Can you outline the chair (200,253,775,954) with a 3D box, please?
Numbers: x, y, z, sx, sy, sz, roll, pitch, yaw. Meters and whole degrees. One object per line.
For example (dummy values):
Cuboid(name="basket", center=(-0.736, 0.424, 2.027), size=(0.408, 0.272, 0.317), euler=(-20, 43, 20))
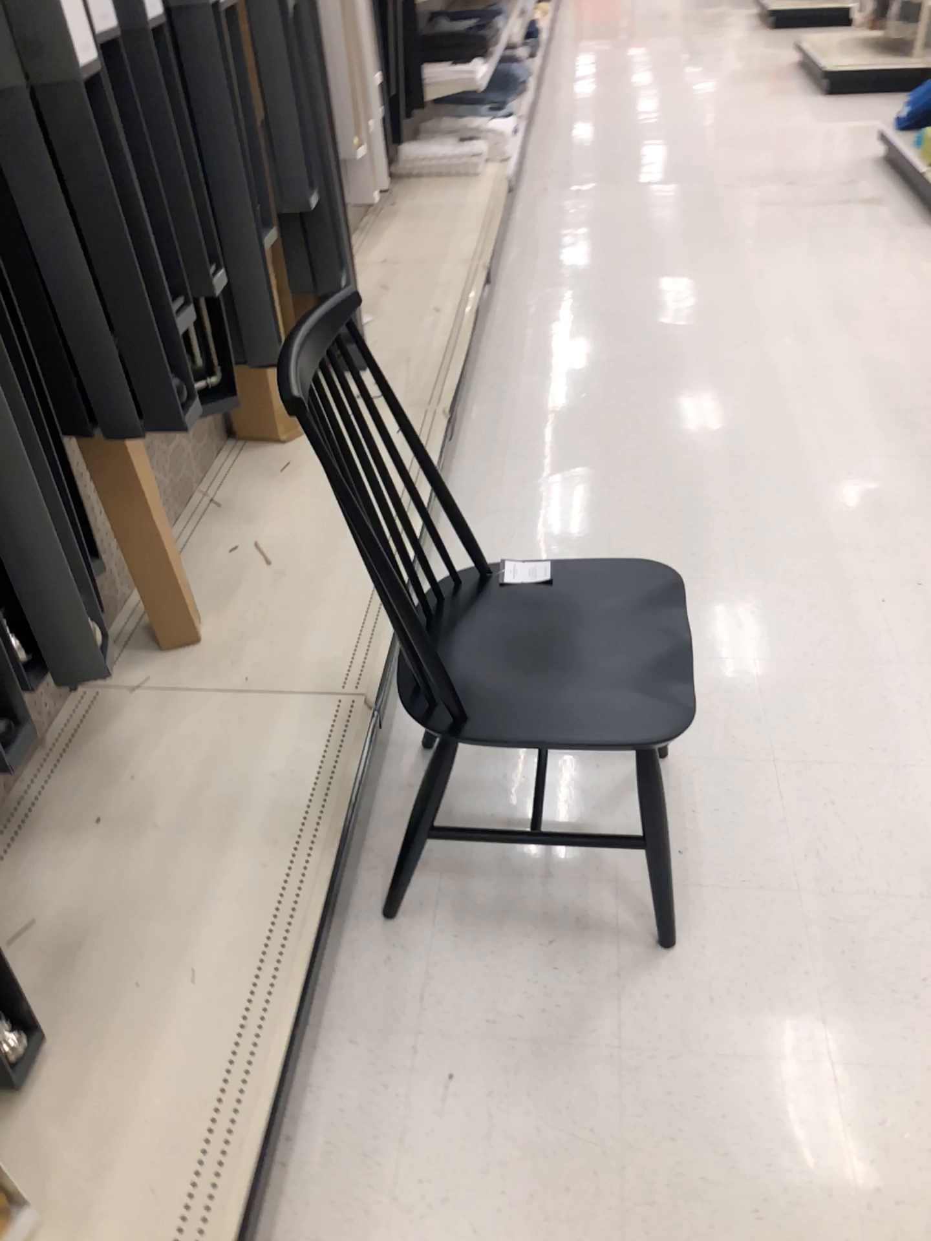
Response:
Cuboid(name="chair", center=(0.064, -0.010, 1.549), size=(0.608, 0.909, 0.520), euler=(1, 37, 6))
